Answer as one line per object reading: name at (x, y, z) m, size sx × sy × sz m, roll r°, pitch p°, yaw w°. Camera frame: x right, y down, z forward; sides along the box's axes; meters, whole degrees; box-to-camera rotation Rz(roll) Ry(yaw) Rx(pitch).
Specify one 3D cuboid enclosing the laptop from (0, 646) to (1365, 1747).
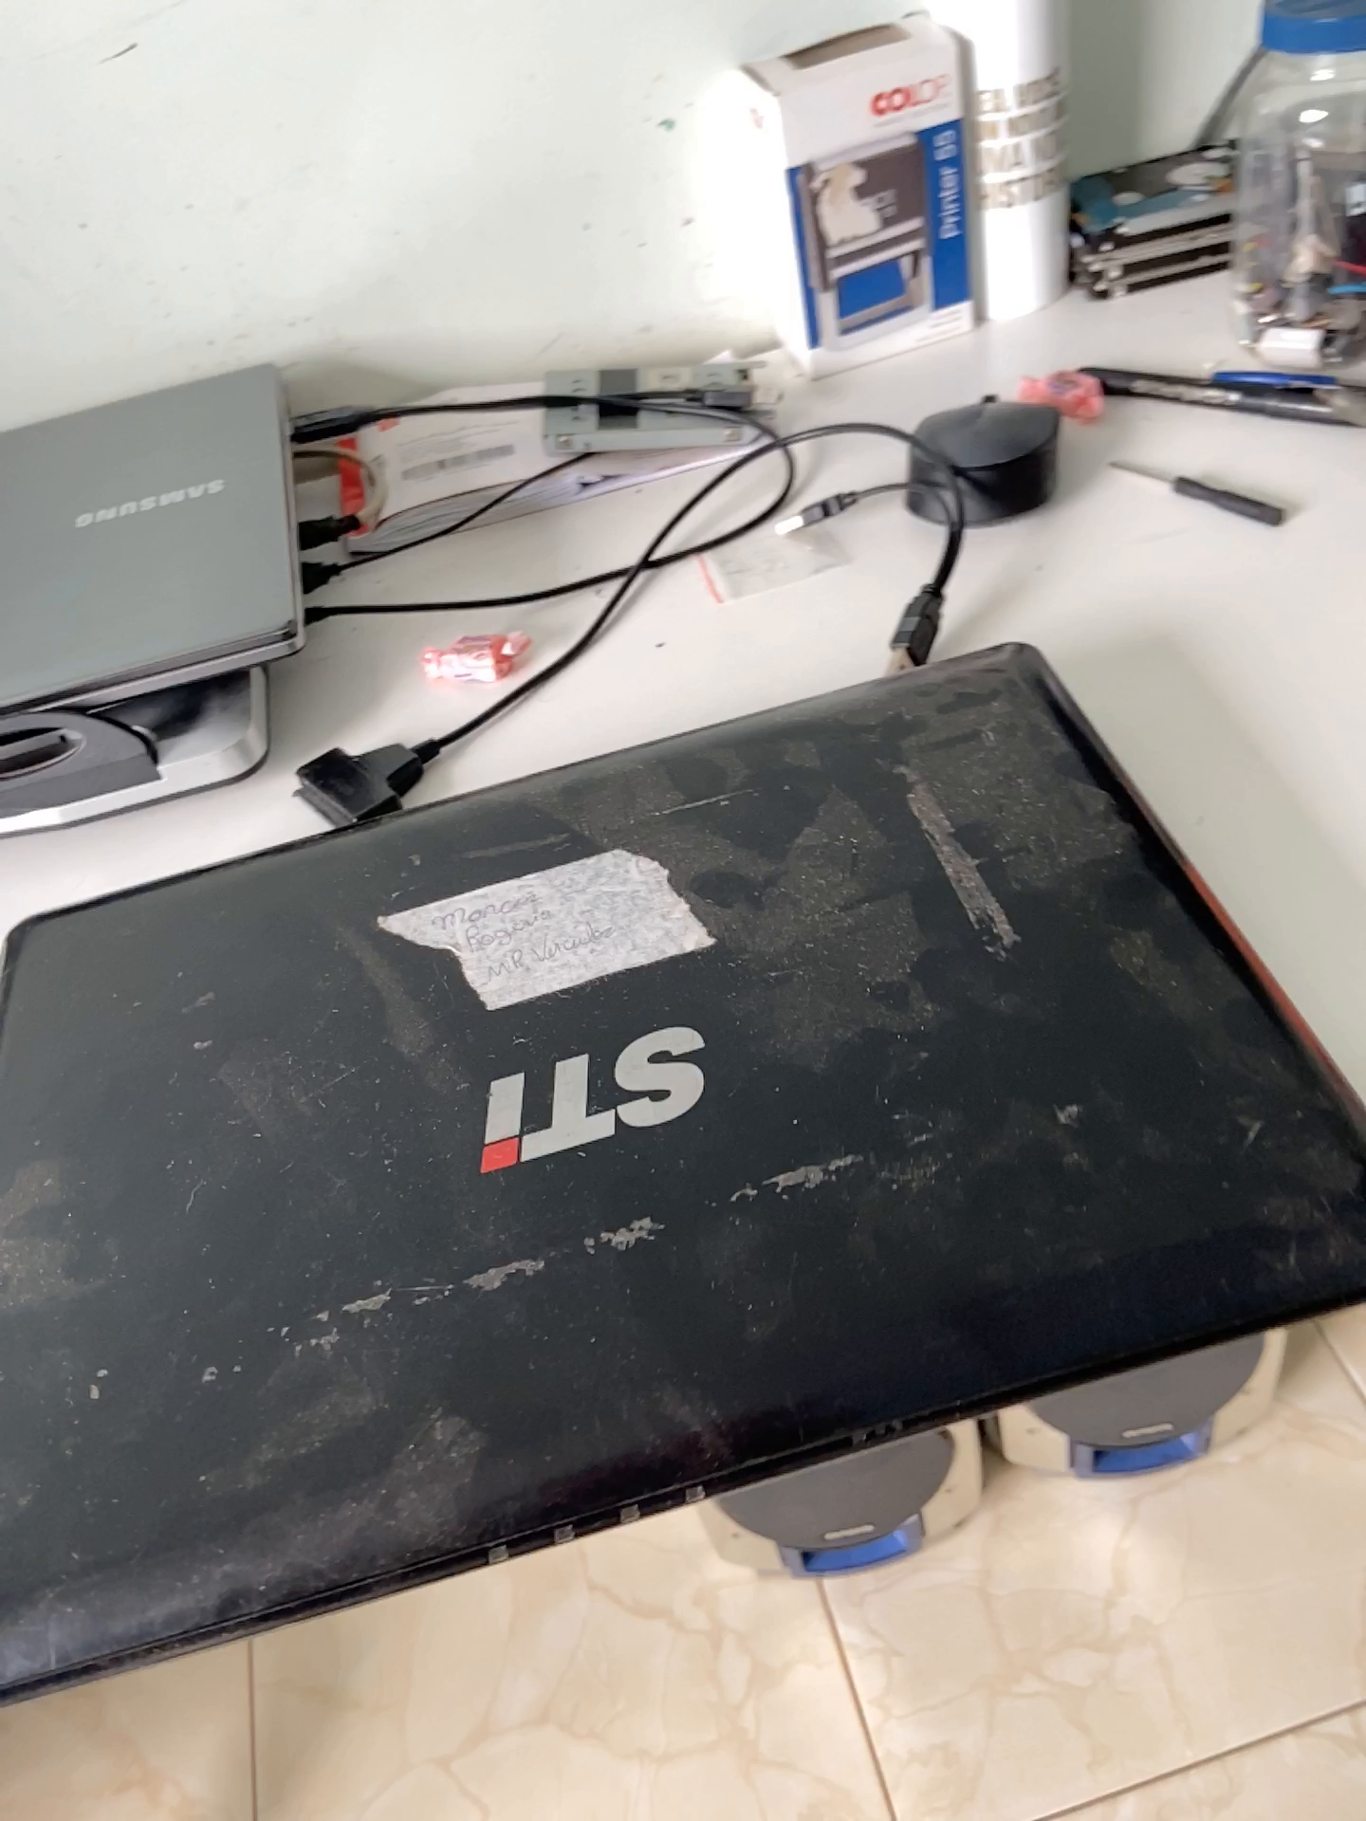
laptop at (-0.025, 0.044, 0.374) m, size 0.337 × 0.011 × 0.231 m, roll -16°, pitch 46°, yaw -2°

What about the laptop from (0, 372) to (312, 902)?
laptop at (-0.329, -0.129, 0.568) m, size 0.343 × 0.006 × 0.228 m, roll -17°, pitch 44°, yaw -6°
